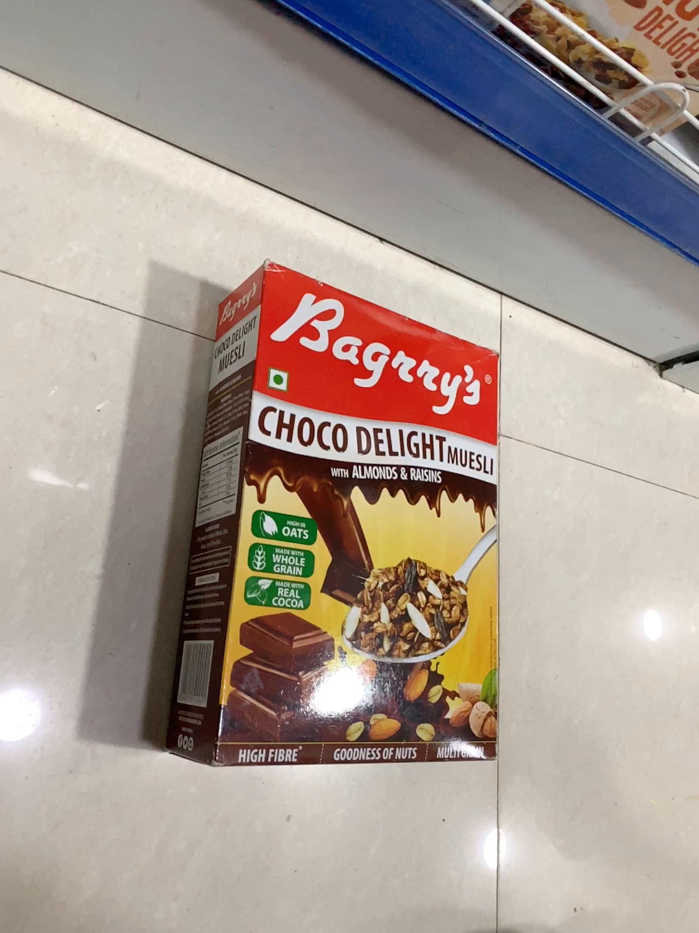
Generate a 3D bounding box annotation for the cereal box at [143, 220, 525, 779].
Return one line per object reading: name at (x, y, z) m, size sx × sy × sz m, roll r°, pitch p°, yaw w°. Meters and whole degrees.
cereal box at (0.005, 0.029, 0.434) m, size 0.201 × 0.080 × 0.280 m, roll 14°, pitch 71°, yaw -32°
